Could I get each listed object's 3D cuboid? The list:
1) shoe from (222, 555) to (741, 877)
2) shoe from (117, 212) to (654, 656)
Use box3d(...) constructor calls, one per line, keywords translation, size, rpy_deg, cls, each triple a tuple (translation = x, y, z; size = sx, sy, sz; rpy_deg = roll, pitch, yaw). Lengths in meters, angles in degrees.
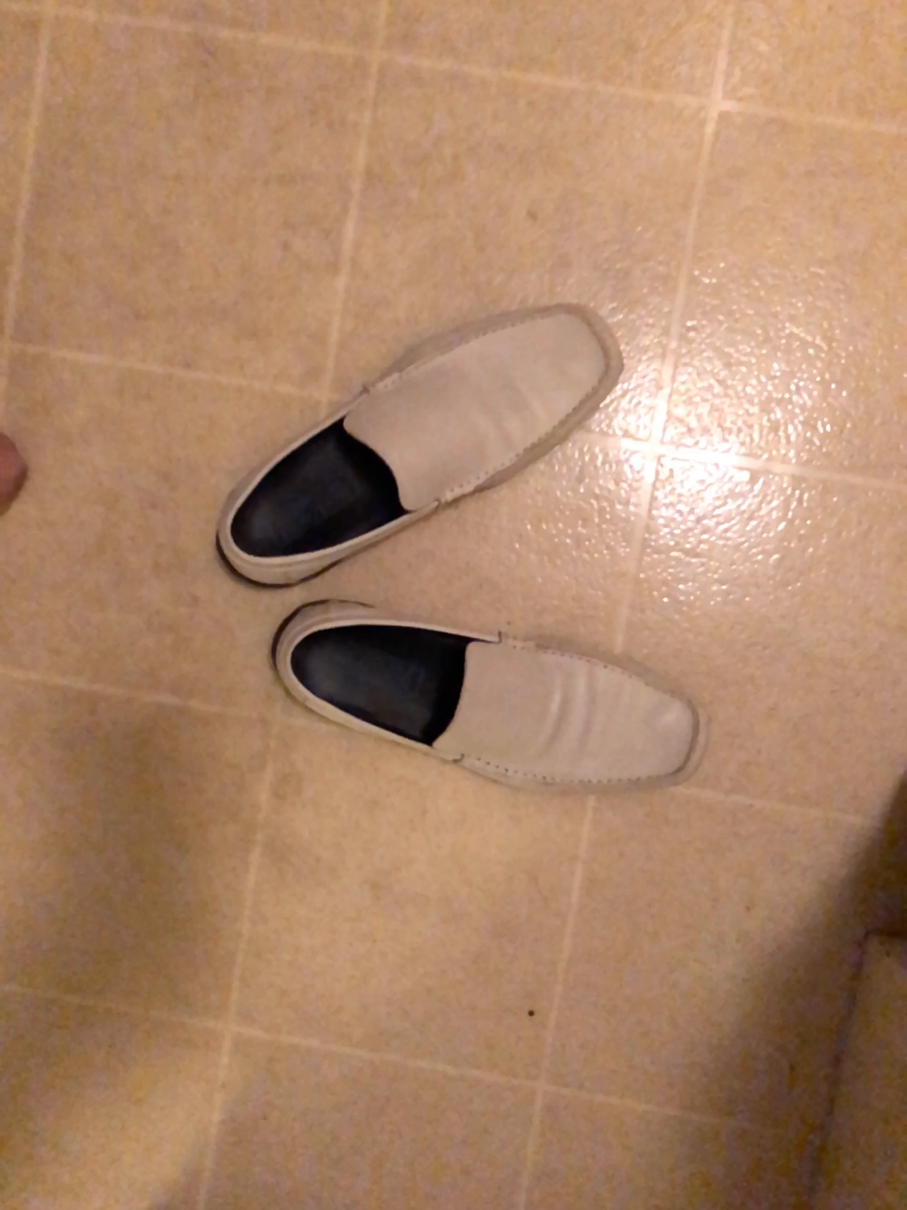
box3d(translation=(0.017, 0.063, 0.639), size=(0.289, 0.097, 0.110), rpy_deg=(17, 94, 2), cls="shoe")
box3d(translation=(-0.040, -0.101, 0.633), size=(0.306, 0.097, 0.110), rpy_deg=(-32, 91, 5), cls="shoe")
